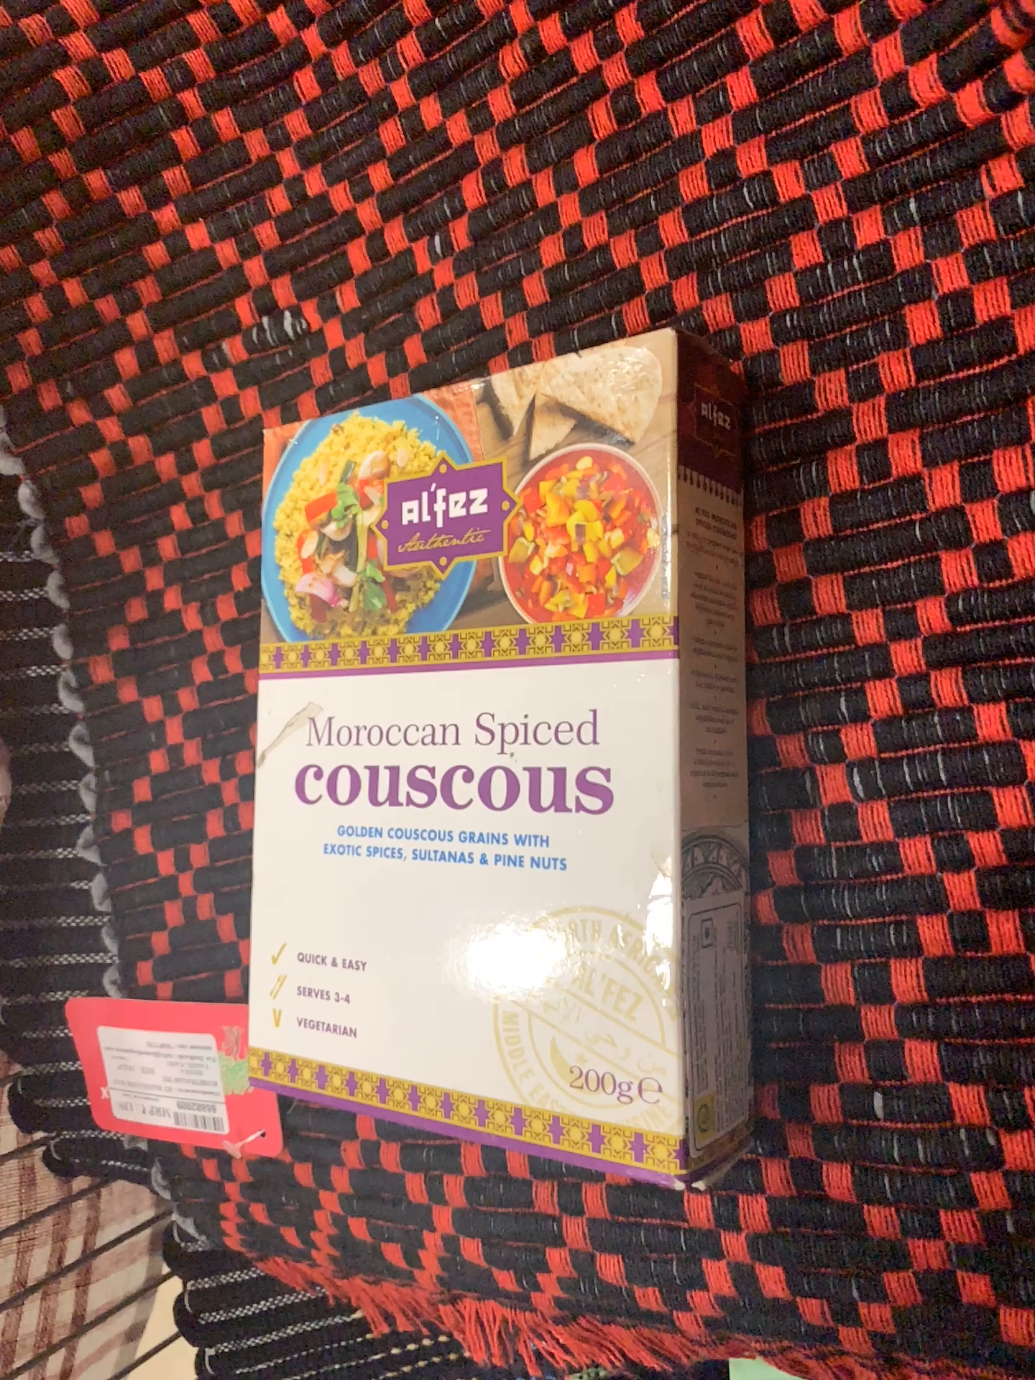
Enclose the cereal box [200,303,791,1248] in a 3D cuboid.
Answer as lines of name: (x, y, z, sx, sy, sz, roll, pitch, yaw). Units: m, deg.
cereal box: (-0.007, 0.016, 0.237, 0.121, 0.050, 0.160, -3, 84, 35)
